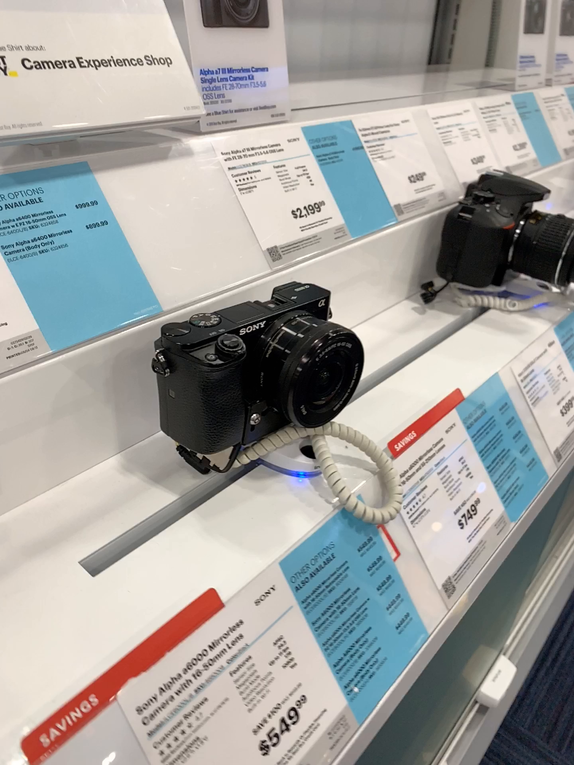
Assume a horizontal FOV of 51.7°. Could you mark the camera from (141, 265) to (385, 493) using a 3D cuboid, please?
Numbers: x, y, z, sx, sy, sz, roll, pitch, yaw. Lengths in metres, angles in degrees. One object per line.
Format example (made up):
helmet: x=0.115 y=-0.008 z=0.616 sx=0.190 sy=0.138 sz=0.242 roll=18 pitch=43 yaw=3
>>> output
camera: x=-0.011 y=-0.009 z=0.355 sx=0.130 sy=0.080 sz=0.060 roll=-25 pitch=41 yaw=-37
